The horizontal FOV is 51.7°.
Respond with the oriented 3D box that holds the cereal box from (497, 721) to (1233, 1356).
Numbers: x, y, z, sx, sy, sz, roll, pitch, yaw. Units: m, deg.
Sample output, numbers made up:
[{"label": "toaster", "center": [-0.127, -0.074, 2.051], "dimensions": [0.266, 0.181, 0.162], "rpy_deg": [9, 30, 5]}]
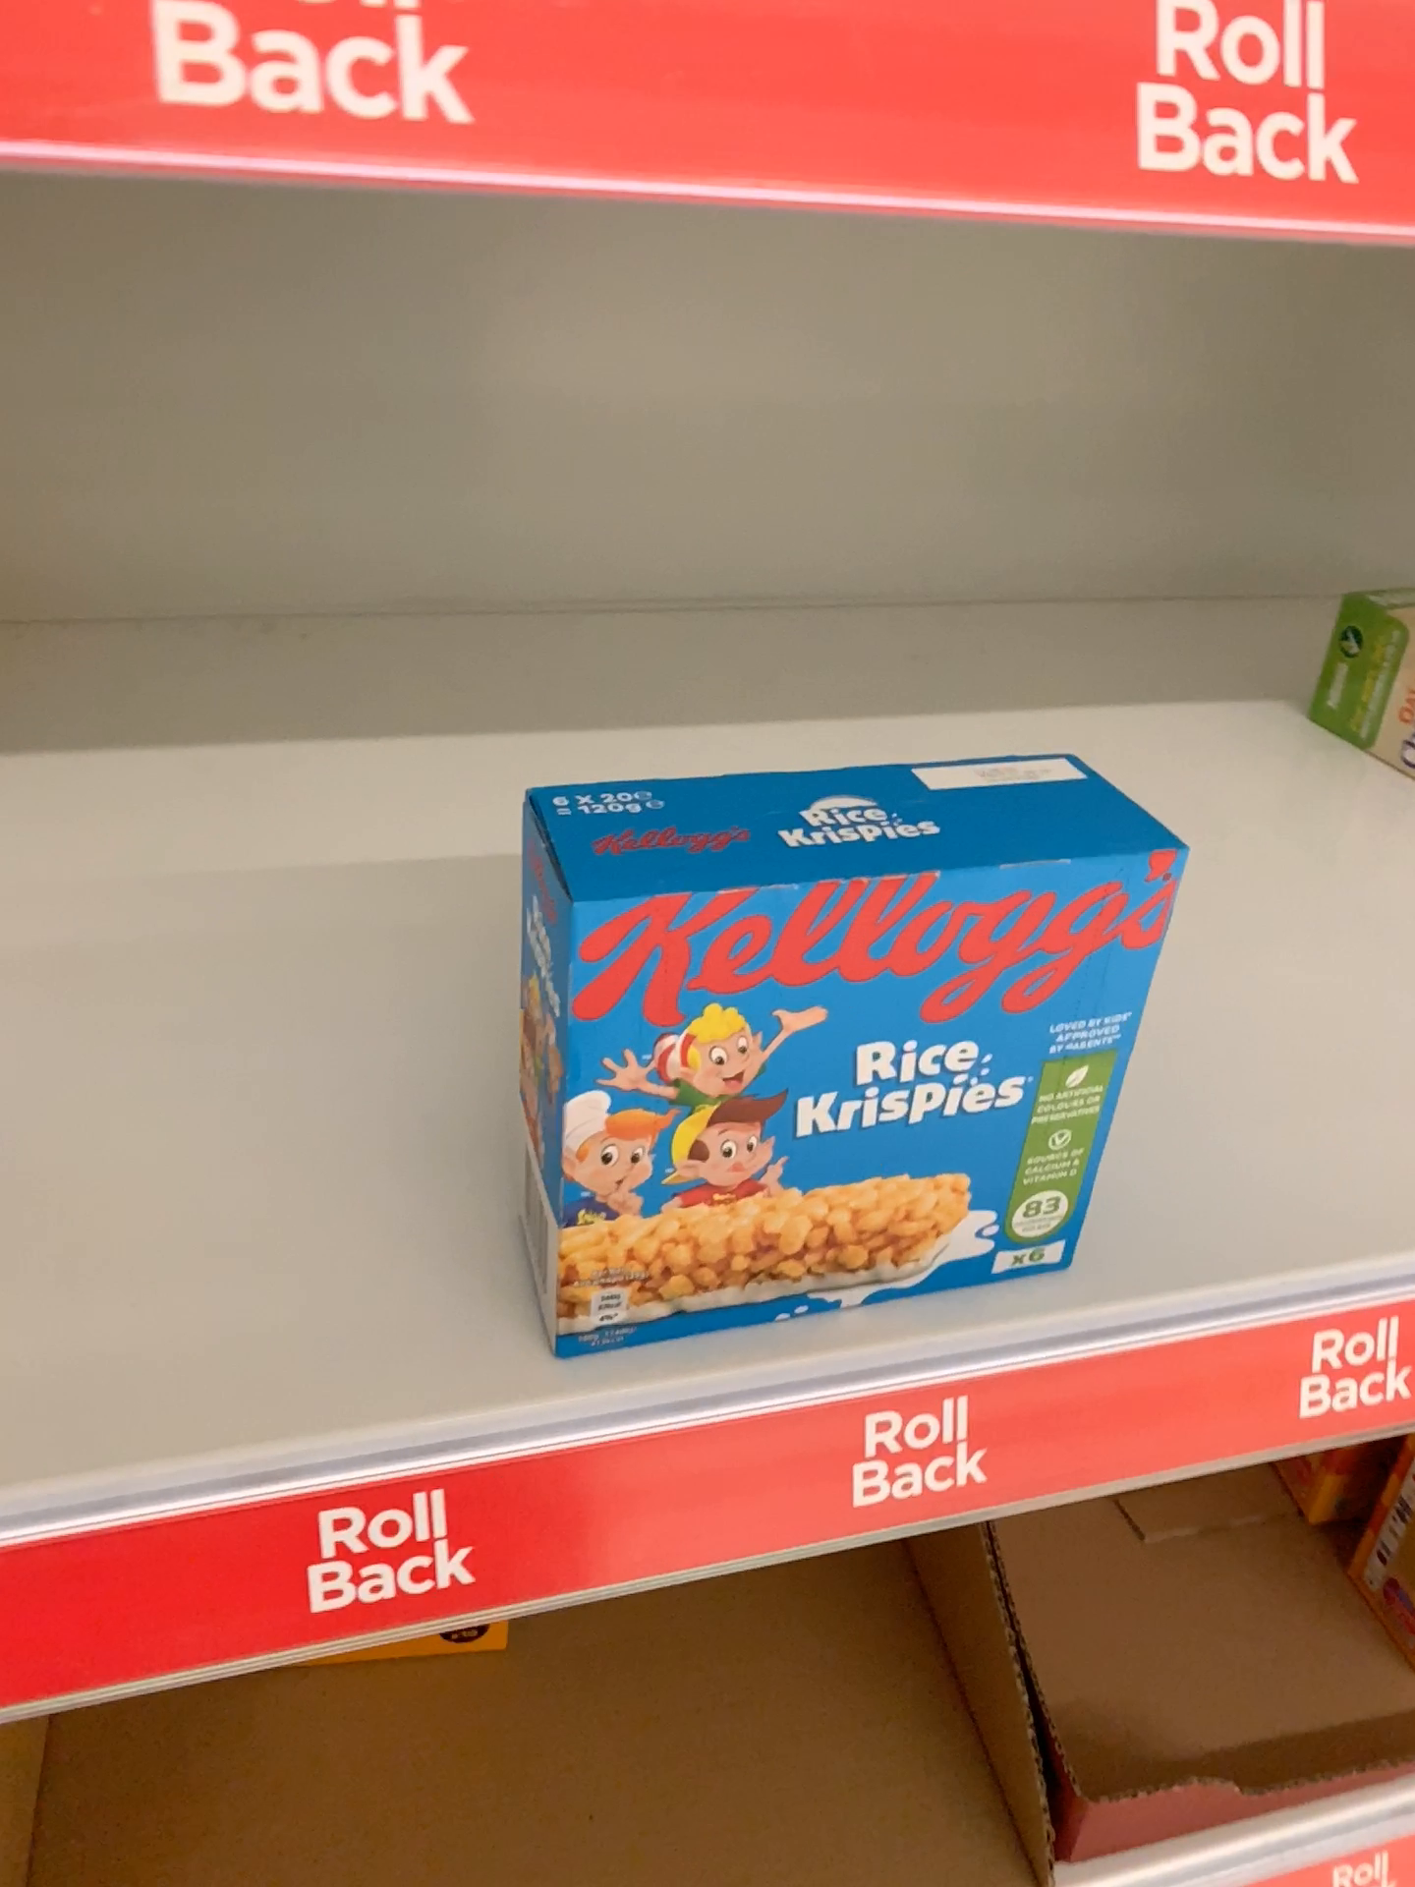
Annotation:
[{"label": "cereal box", "center": [0.030, 0.021, 0.347], "dimensions": [0.150, 0.129, 0.050], "rpy_deg": [-5, 33, -17]}]
